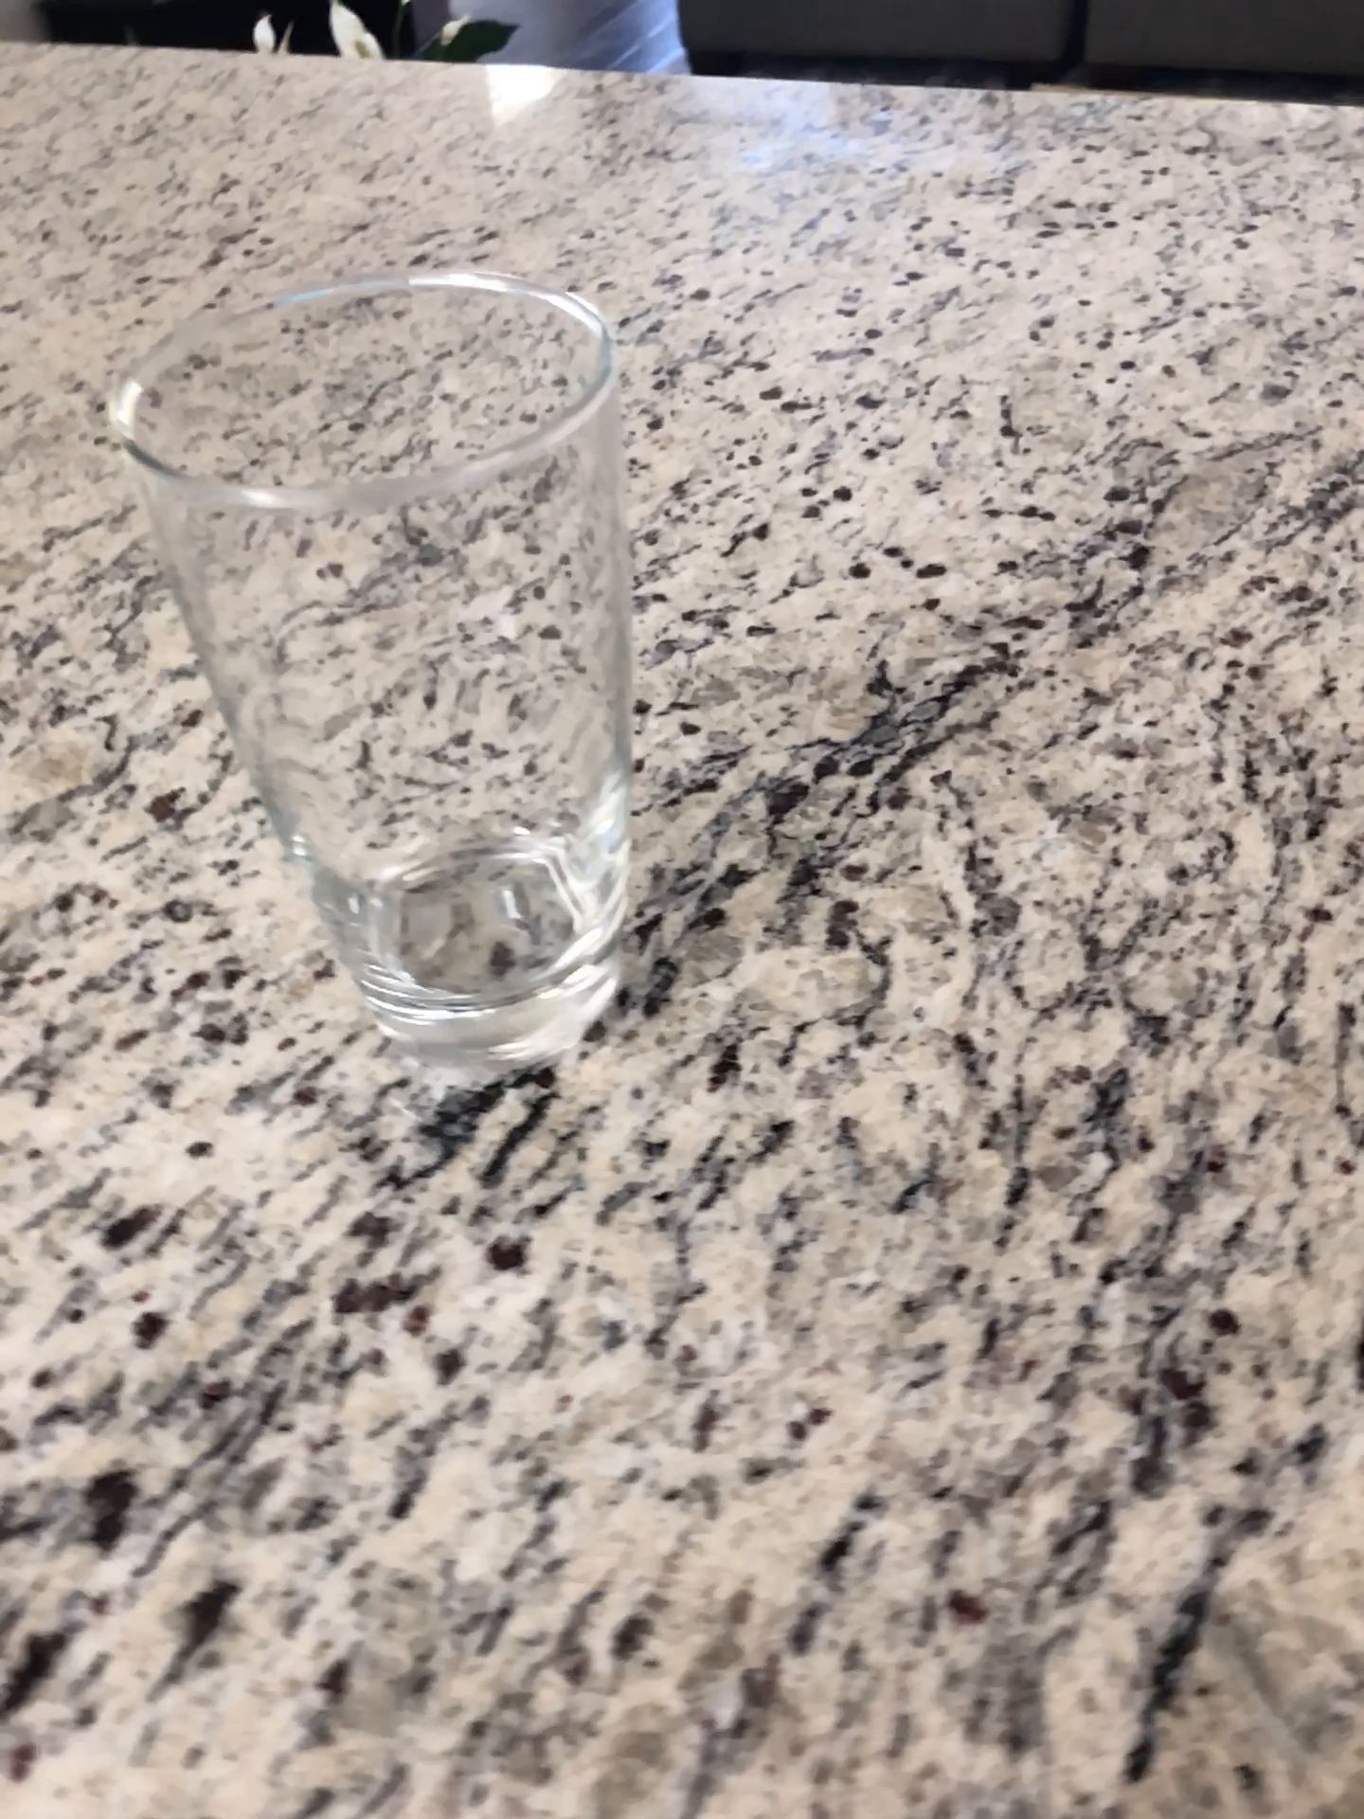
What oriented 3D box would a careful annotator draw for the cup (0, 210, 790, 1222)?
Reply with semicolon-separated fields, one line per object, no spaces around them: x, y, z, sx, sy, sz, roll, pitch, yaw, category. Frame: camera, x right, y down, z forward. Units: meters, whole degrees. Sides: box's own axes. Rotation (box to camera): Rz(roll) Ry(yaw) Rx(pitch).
-0.049;-0.037;0.280;0.100;0.129;0.101;-3;43;2;cup
